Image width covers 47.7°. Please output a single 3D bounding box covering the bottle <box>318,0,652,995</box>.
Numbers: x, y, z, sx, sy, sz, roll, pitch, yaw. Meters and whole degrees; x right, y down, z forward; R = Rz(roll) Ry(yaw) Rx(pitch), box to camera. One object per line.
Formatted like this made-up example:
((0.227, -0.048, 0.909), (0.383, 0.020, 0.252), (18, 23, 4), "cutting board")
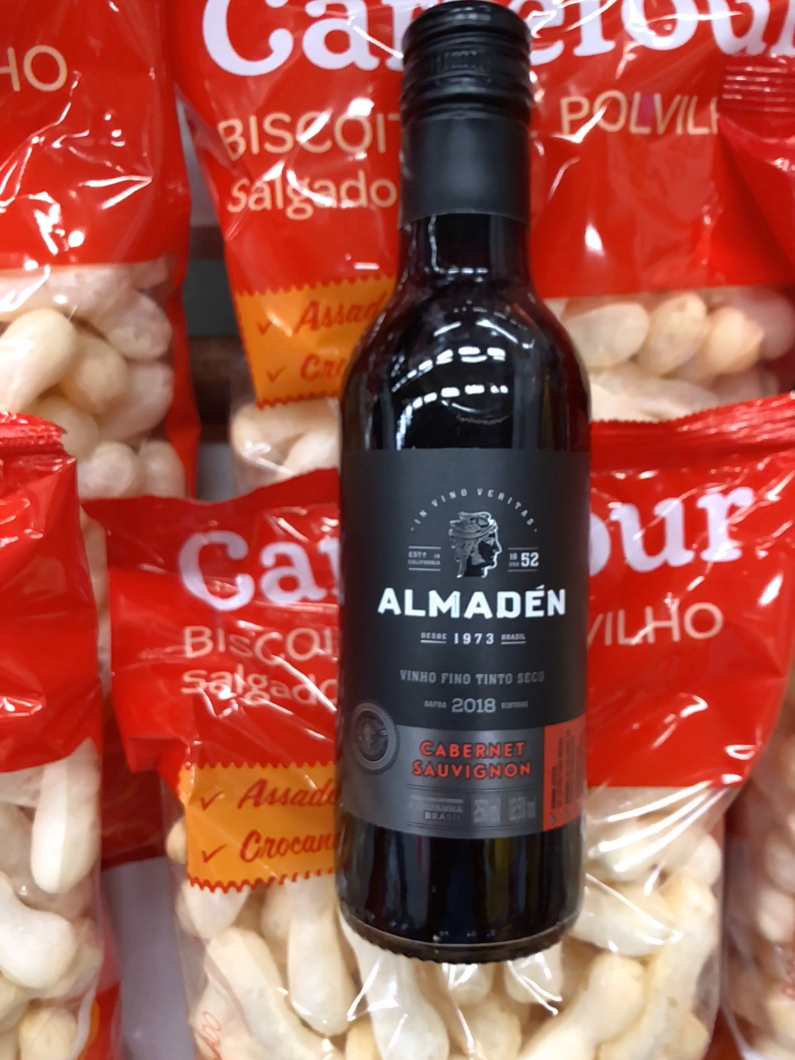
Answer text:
((0.014, -0.018, 0.189), (0.060, 0.050, 0.200), (0, 88, -4), "bottle")
